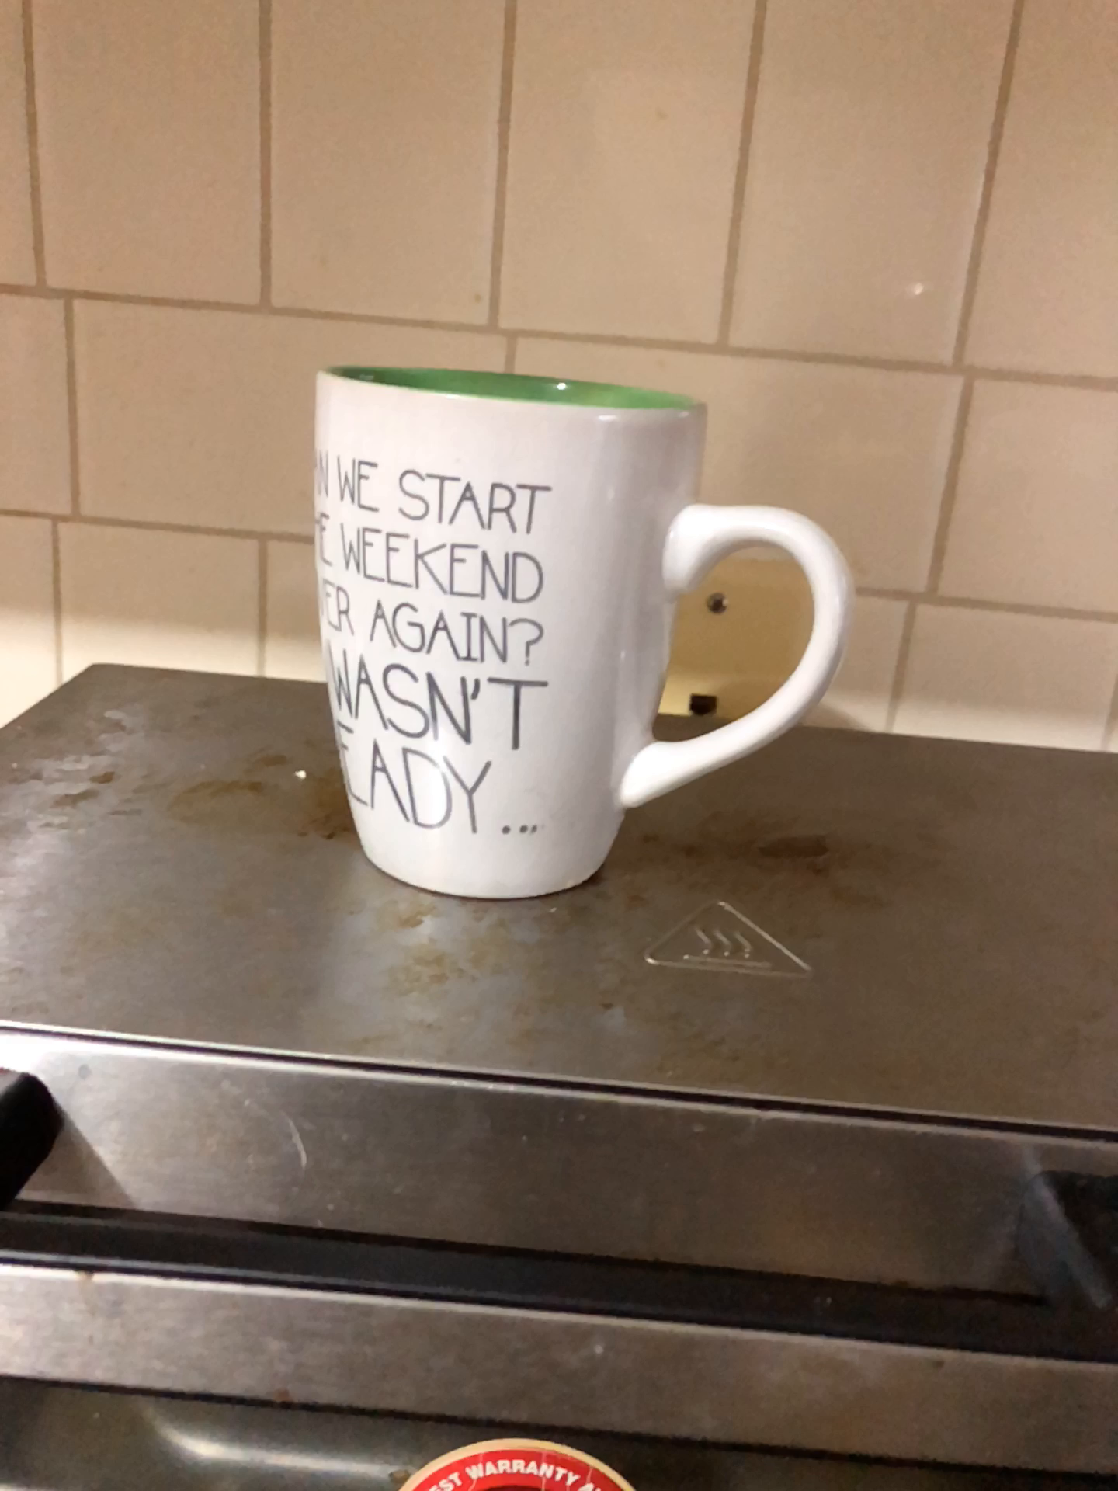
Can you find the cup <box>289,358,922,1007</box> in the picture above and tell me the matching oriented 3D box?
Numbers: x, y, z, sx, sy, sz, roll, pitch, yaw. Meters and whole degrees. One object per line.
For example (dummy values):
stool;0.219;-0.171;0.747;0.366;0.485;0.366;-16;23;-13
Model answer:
cup;0.008;-0.022;0.273;0.110;0.110;0.070;13;19;23
